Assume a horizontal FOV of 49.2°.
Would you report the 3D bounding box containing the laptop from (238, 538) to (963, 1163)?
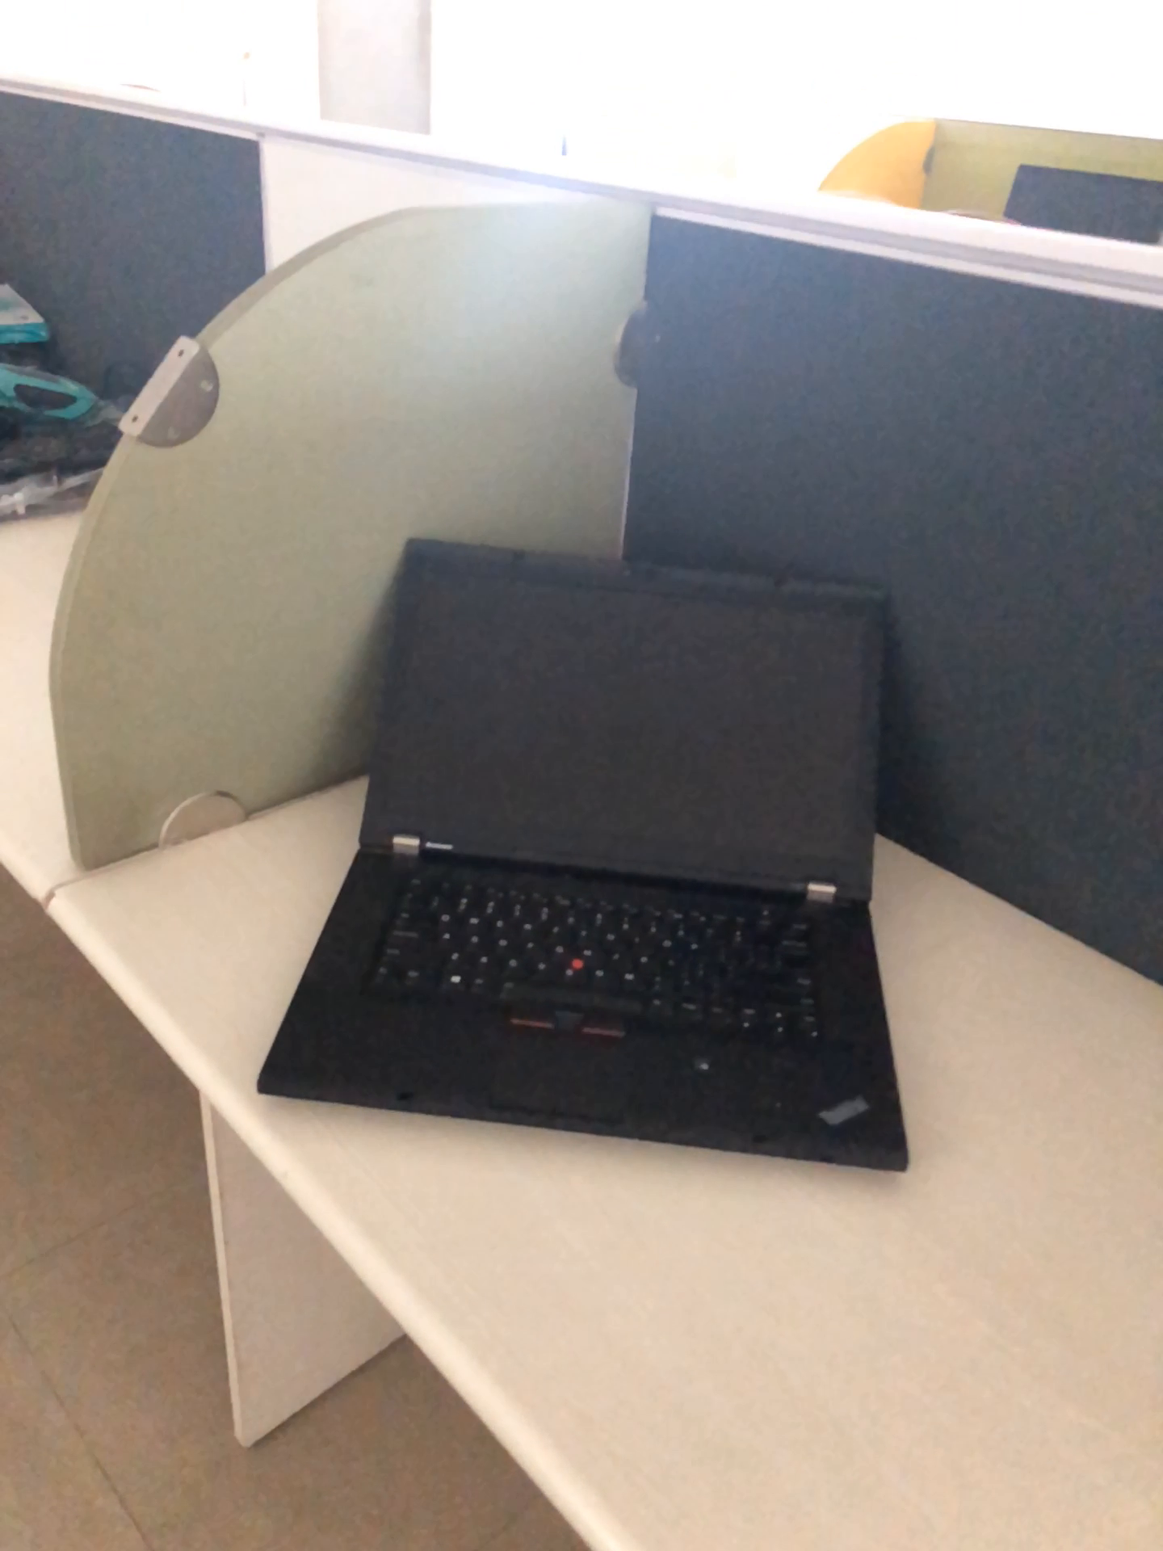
[{"bbox_3d":[0.023,0.015,0.831,0.355,0.167,0.406,6,31,3],"label":"laptop"}]
